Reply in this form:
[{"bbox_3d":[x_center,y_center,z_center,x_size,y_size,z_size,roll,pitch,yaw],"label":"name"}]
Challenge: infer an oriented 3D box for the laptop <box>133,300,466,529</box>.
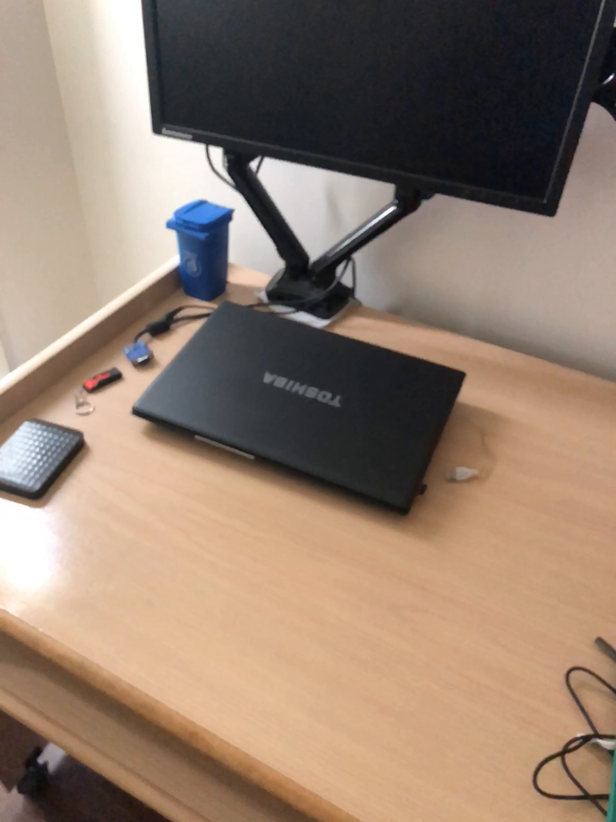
[{"bbox_3d":[-0.006,-0.016,0.940,0.380,0.029,0.258,19,50,17],"label":"laptop"}]
